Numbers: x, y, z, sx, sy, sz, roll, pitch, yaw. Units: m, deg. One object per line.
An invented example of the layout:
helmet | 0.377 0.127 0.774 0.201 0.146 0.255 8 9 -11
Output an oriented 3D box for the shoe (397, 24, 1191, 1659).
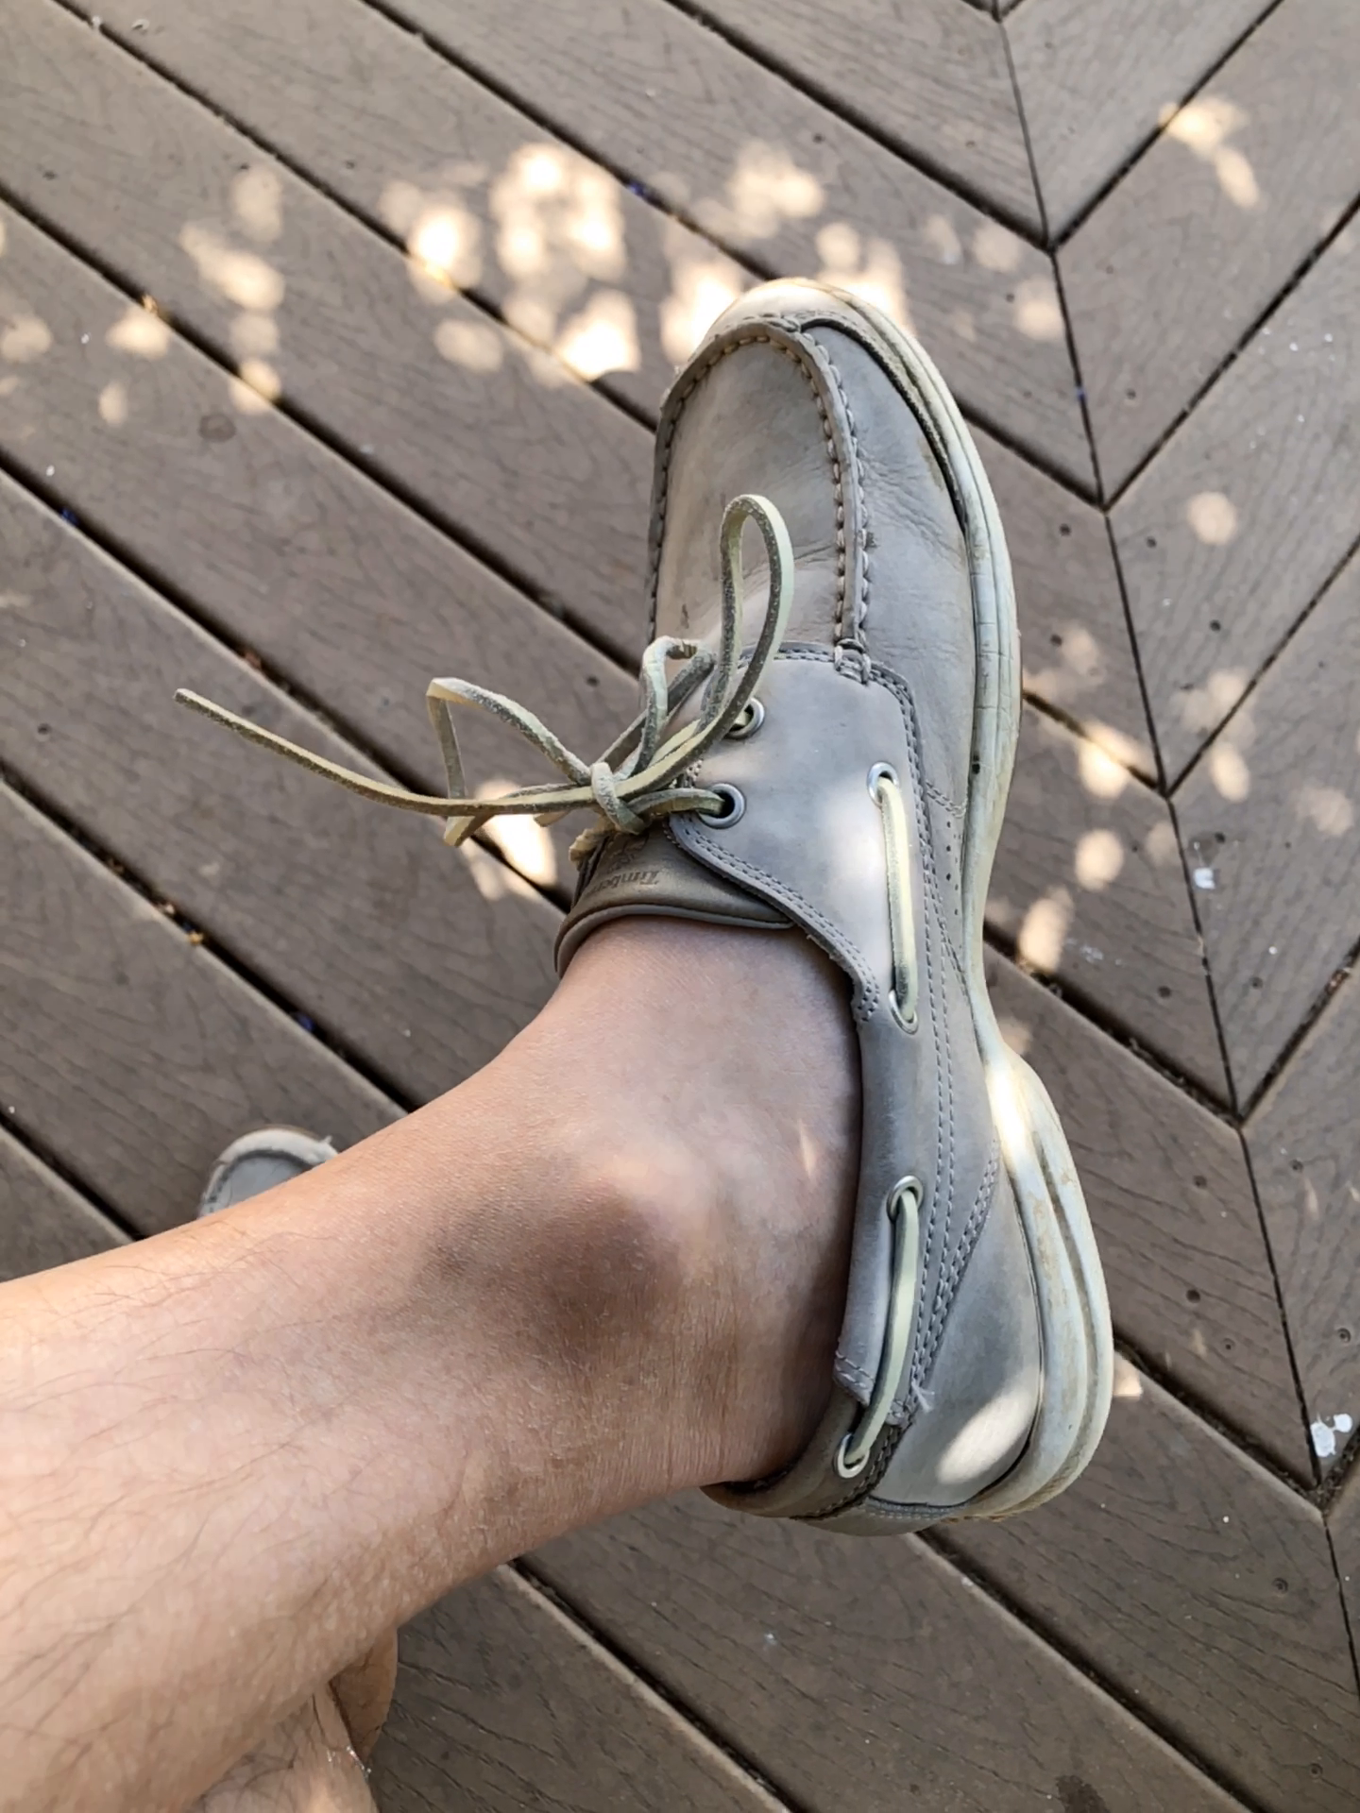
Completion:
shoe | 0.016 -0.013 0.342 0.106 0.113 0.303 10 70 -44
